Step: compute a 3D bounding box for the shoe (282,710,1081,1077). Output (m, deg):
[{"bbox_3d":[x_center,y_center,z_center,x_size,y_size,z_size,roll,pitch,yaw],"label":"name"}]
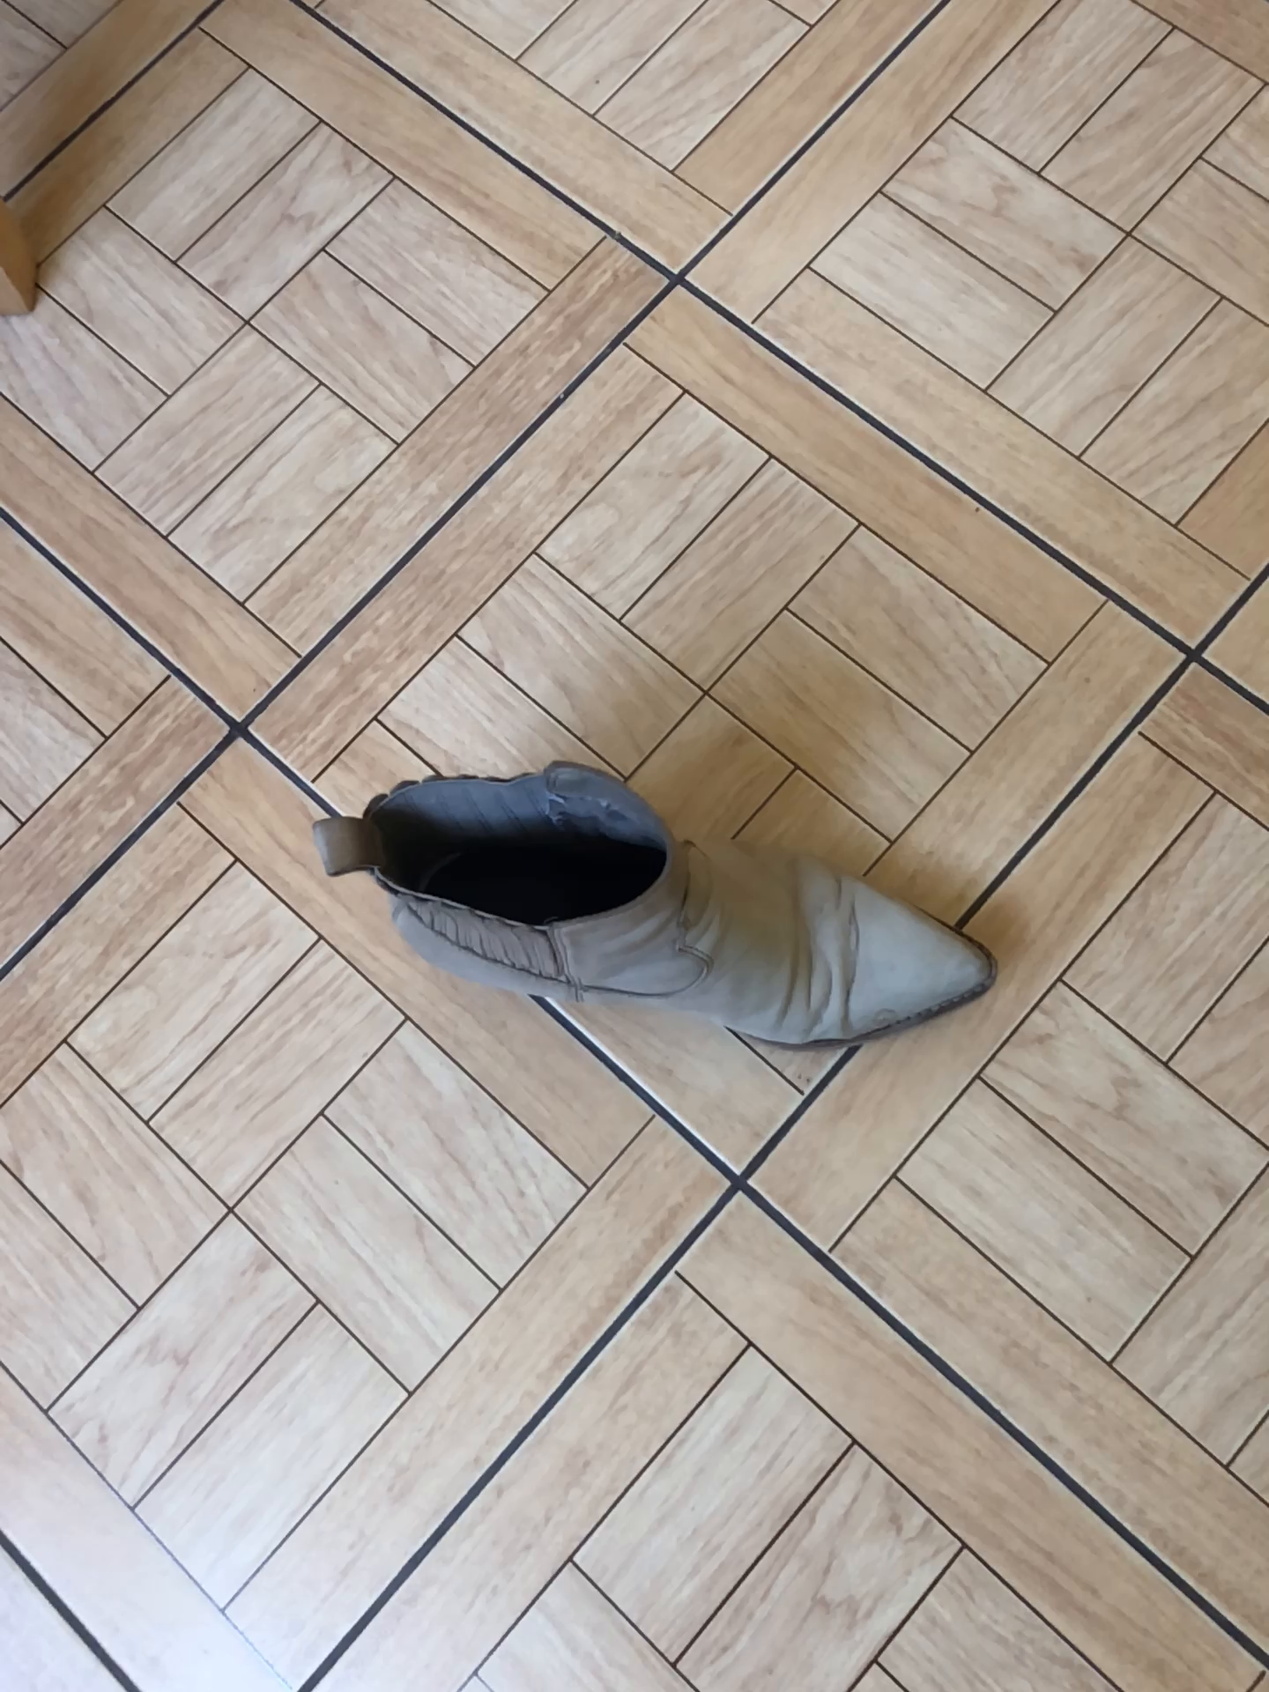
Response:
[{"bbox_3d":[0.022,0.027,0.553,0.260,0.180,0.090,4,76,5],"label":"shoe"}]
